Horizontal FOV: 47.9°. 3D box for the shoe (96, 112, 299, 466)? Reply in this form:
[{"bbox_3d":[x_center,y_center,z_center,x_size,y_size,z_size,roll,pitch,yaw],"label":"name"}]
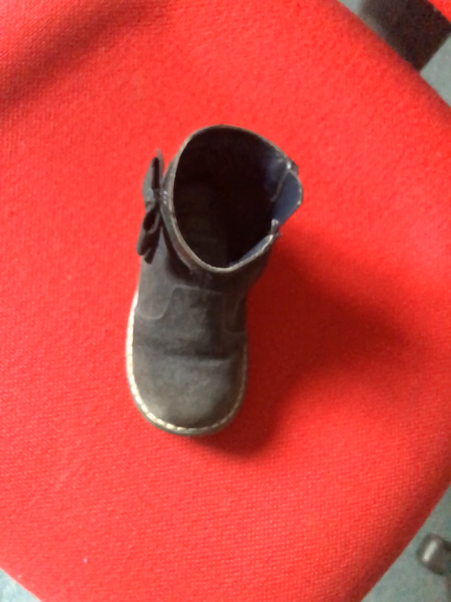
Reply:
[{"bbox_3d":[-0.014,-0.002,0.270,0.080,0.100,0.150,3,84,-5],"label":"shoe"}]
